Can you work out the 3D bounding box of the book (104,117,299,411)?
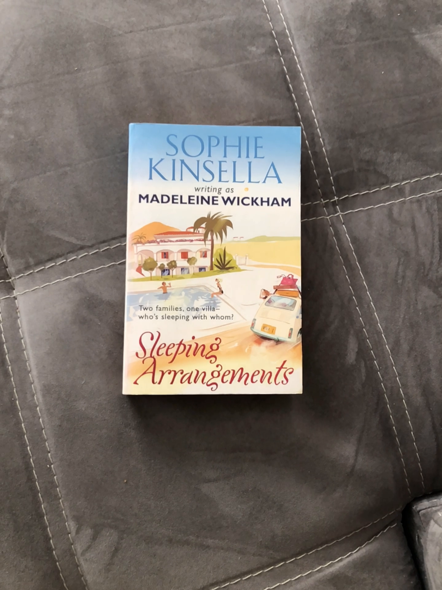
[{"bbox_3d":[-0.012,-0.021,0.350,0.130,0.030,0.200,1,85,-5],"label":"book"}]
